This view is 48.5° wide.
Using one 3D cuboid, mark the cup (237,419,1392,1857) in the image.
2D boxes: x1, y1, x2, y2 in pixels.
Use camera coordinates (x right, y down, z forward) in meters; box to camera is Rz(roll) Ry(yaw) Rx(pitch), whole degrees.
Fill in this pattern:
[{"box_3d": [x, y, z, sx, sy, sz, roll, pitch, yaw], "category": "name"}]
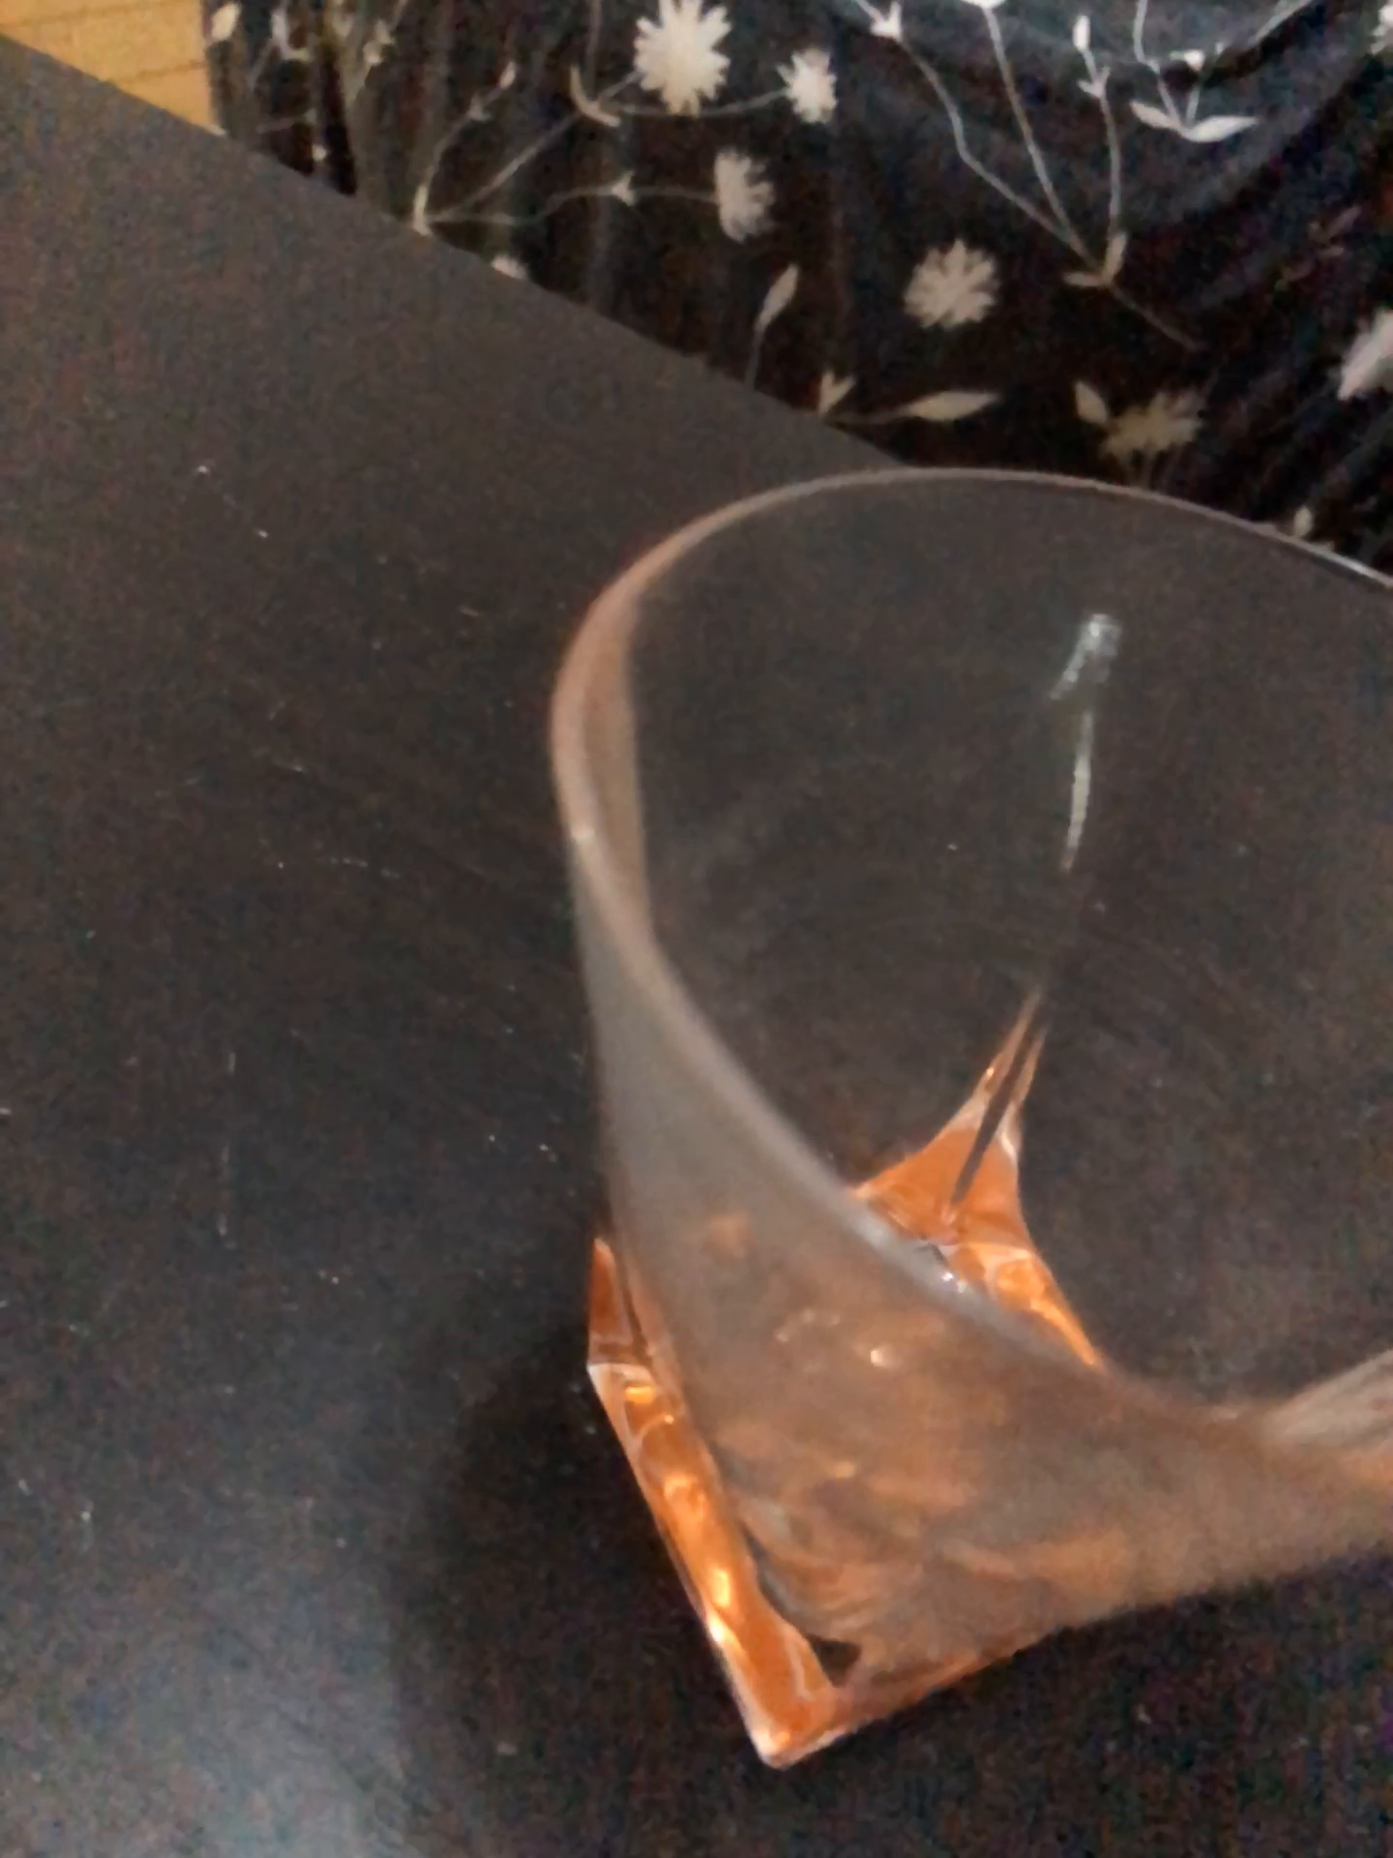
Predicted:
[{"box_3d": [0.022, 0.025, 0.150, 0.110, 0.099, 0.110, 8, 43, -8], "category": "cup"}]
